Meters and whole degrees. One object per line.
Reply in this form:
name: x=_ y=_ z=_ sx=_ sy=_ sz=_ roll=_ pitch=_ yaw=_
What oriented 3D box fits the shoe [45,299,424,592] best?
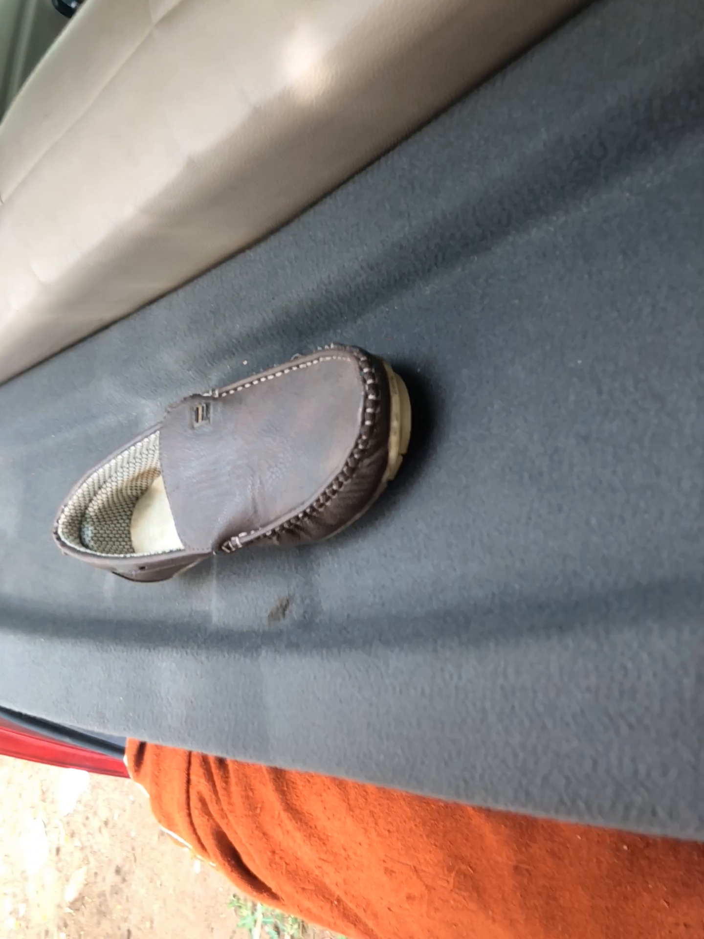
shoe: x=-0.077 y=0.006 z=0.401 sx=0.261 sy=0.050 sz=0.080 roll=-19 pitch=64 yaw=44
